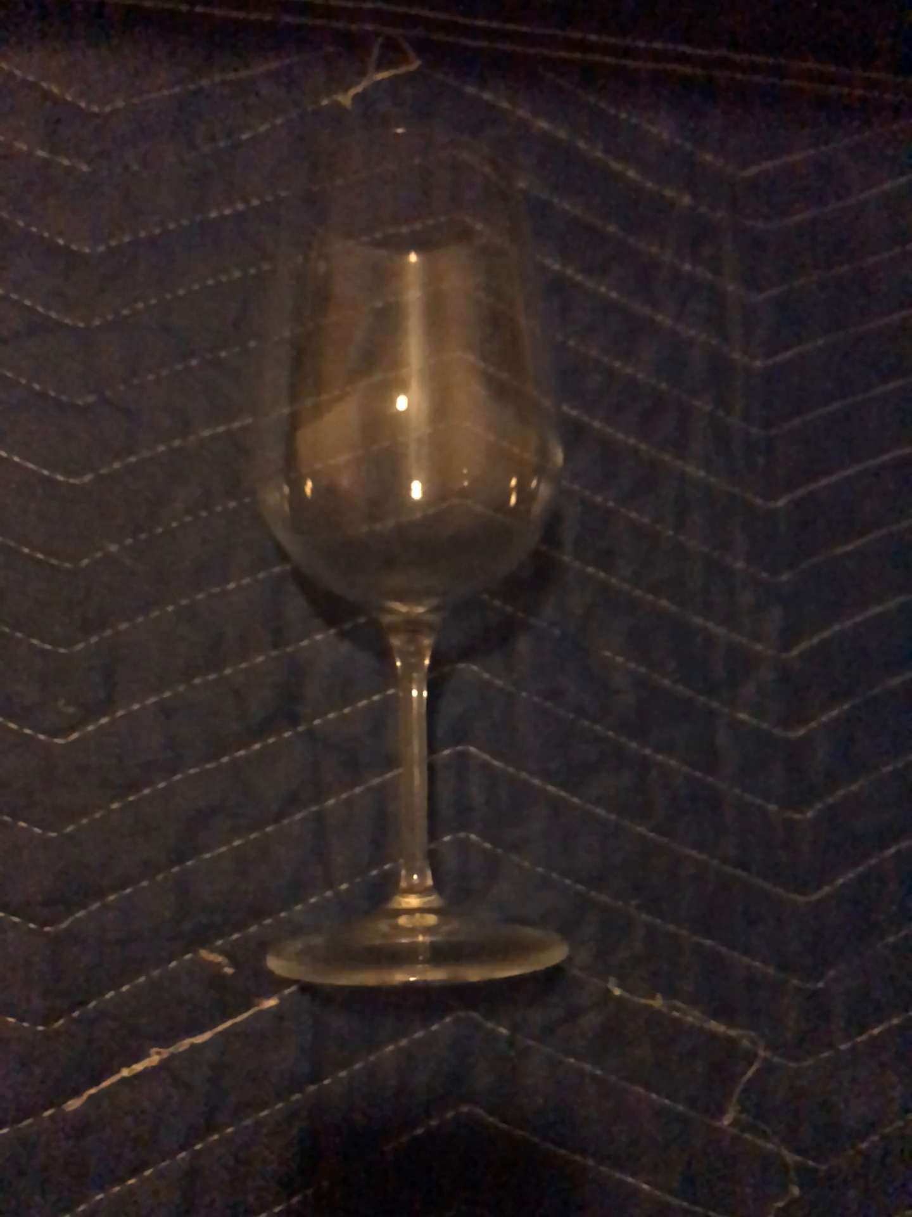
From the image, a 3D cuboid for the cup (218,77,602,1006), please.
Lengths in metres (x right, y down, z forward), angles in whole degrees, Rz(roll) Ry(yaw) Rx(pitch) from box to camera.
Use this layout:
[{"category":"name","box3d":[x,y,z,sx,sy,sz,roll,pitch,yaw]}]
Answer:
[{"category":"cup","box3d":[-0.018,-0.015,0.275,0.080,0.090,0.210,1,79,-10]}]
